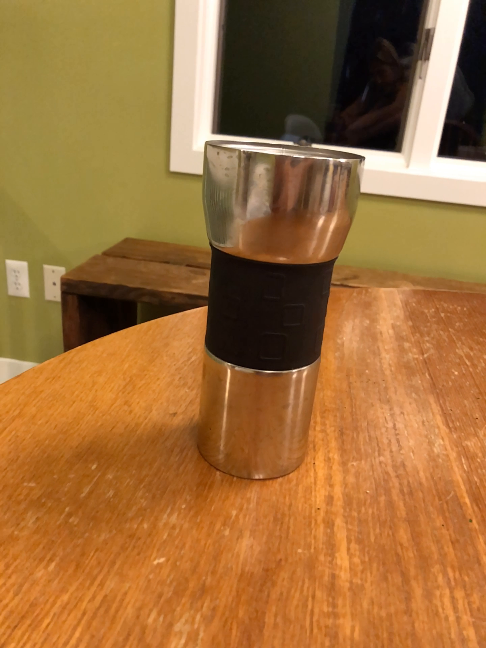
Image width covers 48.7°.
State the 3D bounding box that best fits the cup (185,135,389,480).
[{"bbox_3d":[0.013,-0.011,0.309,0.083,0.173,0.088,5,21,-2],"label":"cup"}]
